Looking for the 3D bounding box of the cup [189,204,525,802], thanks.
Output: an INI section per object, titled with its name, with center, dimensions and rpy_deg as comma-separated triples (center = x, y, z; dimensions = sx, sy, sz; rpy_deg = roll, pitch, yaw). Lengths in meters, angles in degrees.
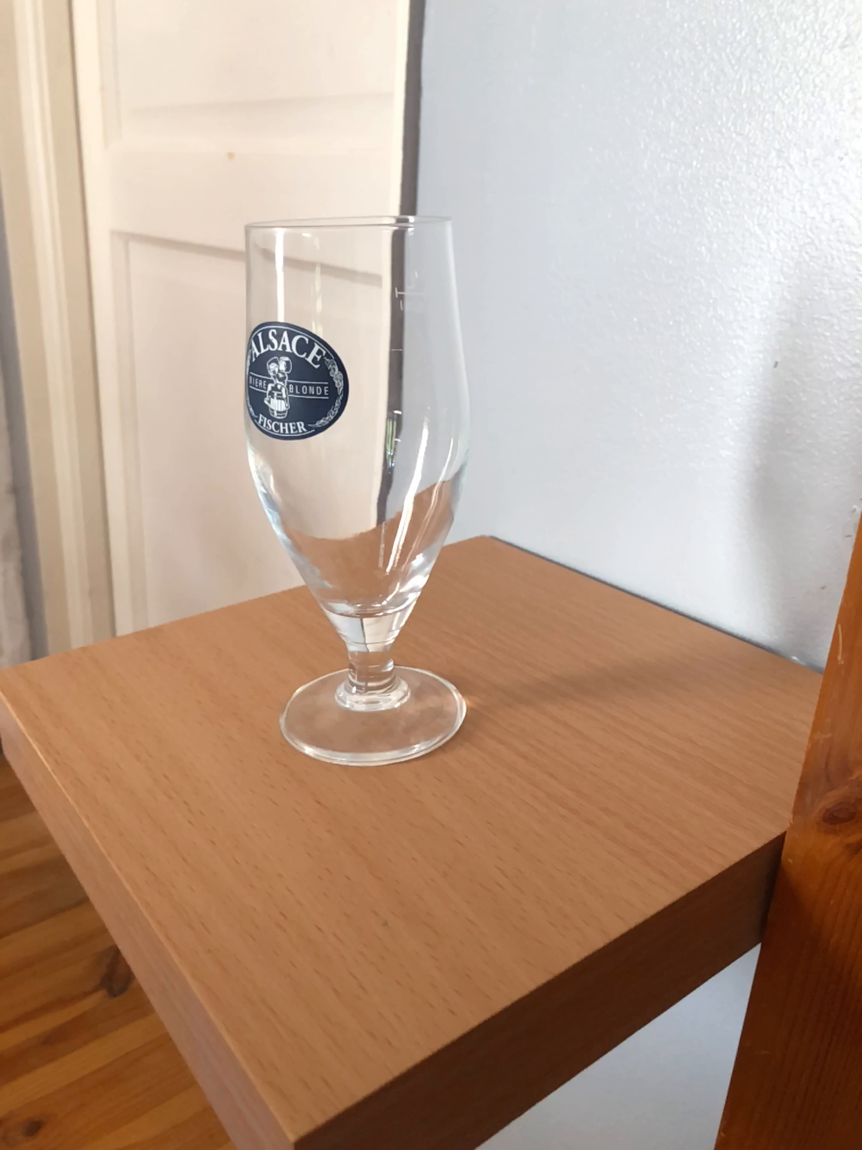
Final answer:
[cup]
center = -0.018, -0.027, 0.303
dimensions = 0.068, 0.166, 0.068
rpy_deg = -1, 21, 1
